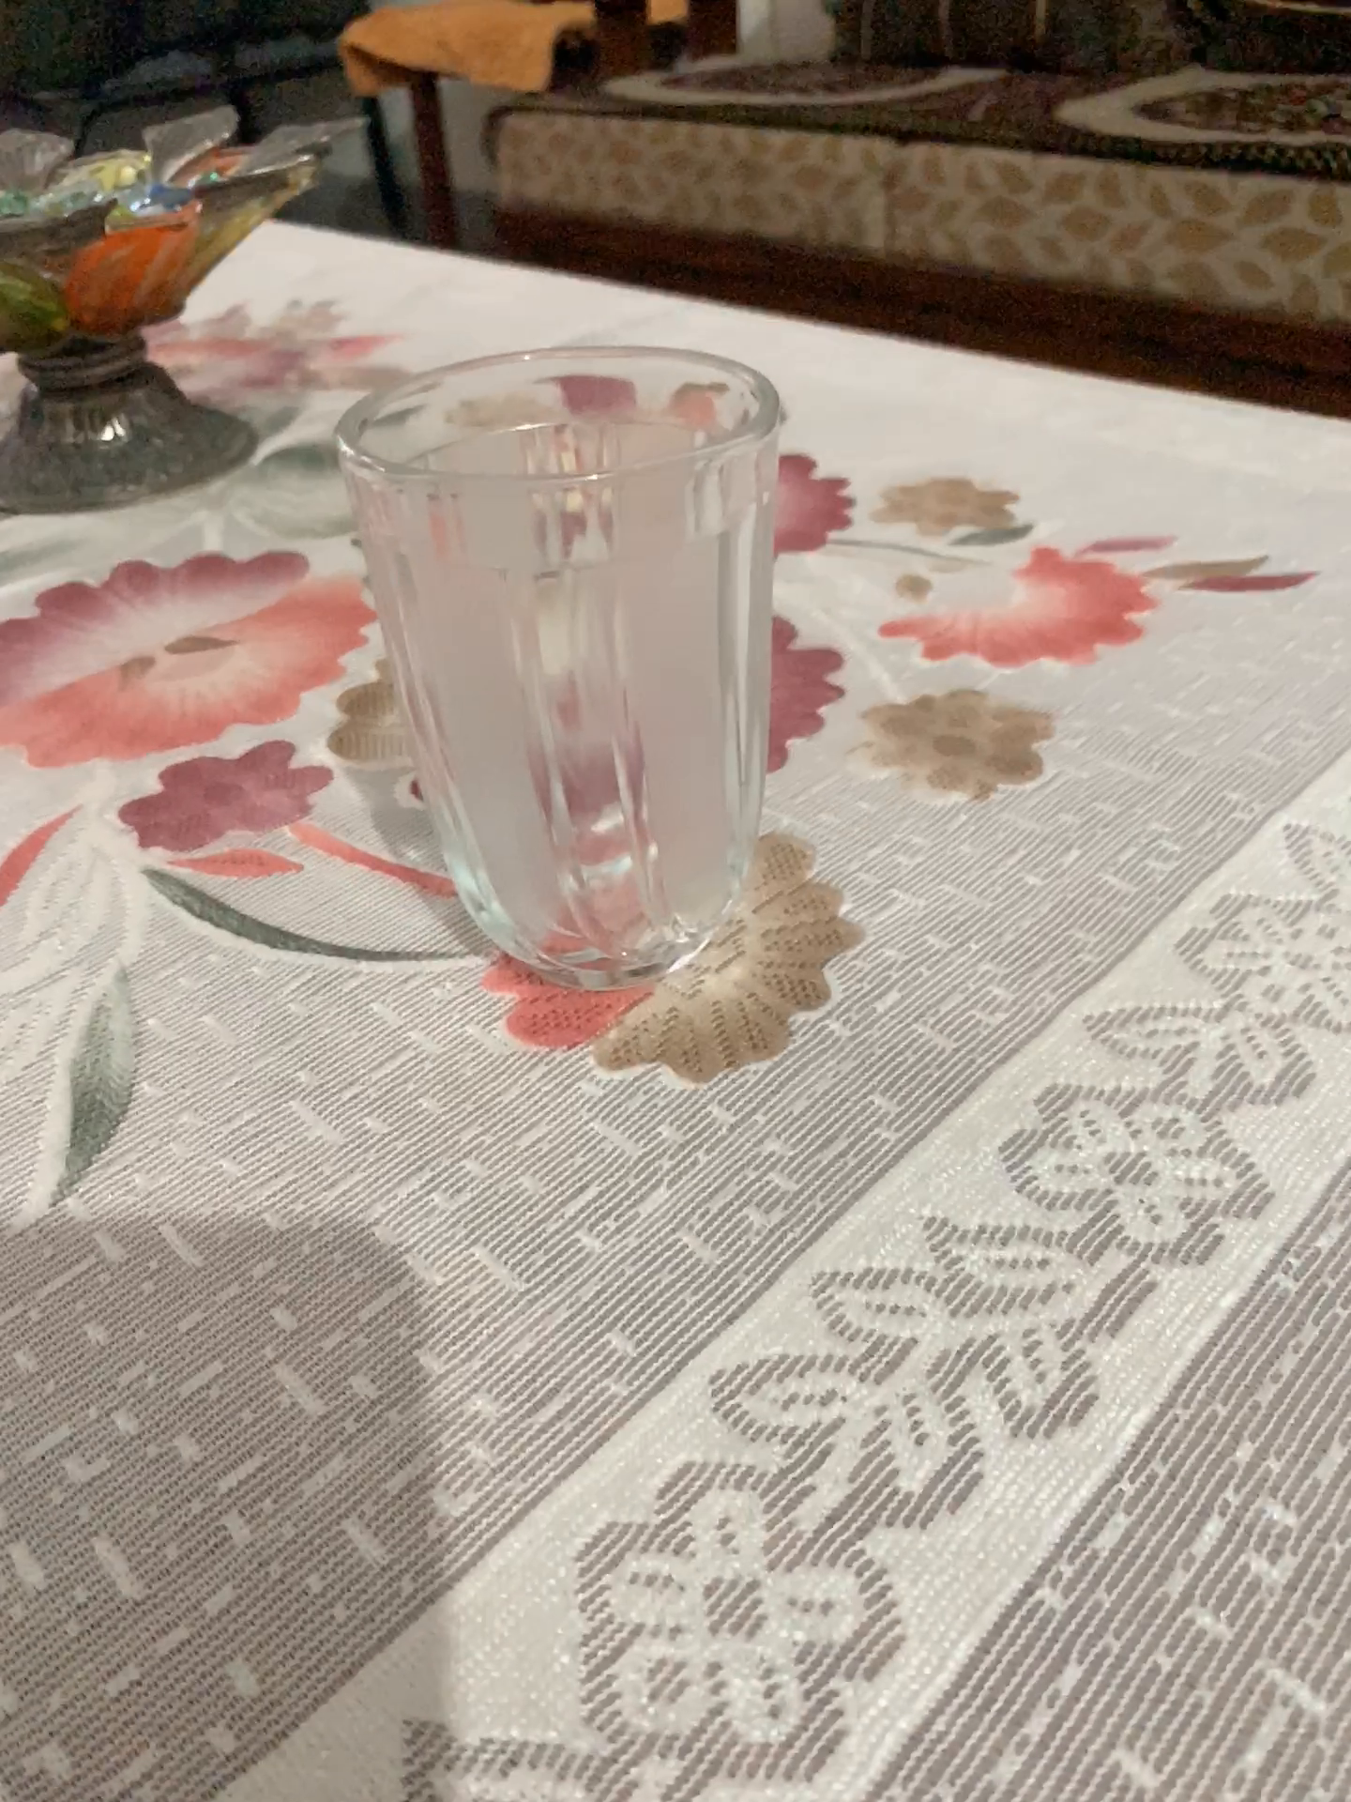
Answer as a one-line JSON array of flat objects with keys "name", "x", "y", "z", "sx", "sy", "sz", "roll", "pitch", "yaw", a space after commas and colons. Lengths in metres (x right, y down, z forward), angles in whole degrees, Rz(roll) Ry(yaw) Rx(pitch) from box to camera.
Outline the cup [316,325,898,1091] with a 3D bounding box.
[{"name": "cup", "x": -0.011, "y": -0.036, "z": 0.247, "sx": 0.070, "sy": 0.100, "sz": 0.070, "roll": -3, "pitch": 36, "yaw": 2}]
